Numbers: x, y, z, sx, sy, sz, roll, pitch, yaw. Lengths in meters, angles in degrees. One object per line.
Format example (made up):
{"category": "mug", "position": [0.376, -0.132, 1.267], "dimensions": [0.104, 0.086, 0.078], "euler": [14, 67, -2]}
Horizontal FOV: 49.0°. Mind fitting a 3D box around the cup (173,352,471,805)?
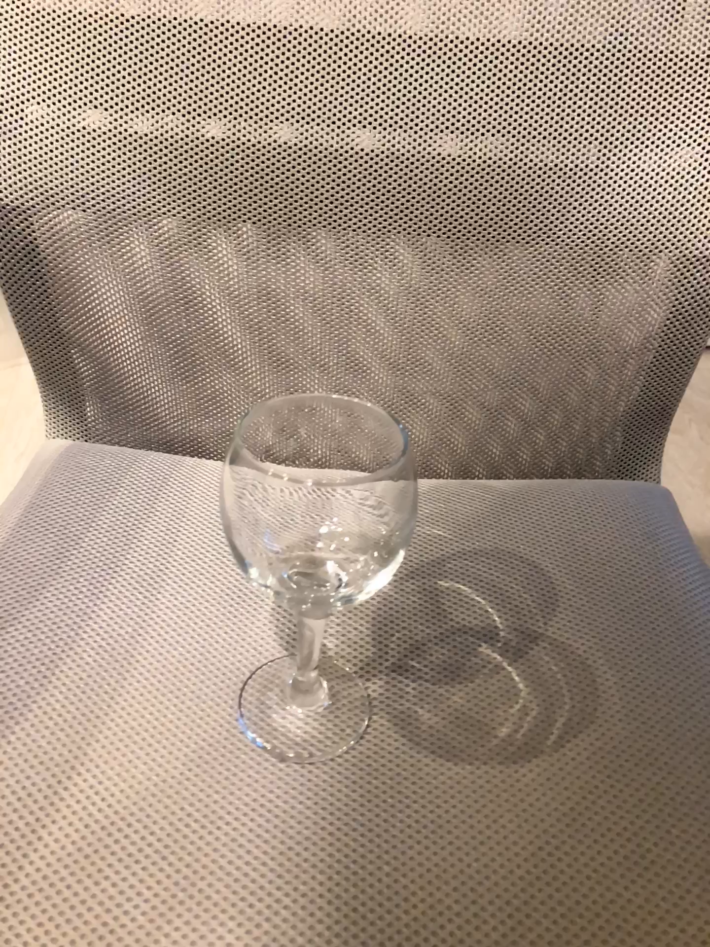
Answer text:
{"category": "cup", "position": [-0.018, 0.050, 0.353], "dimensions": [0.081, 0.172, 0.089], "euler": [2, 39, -1]}
